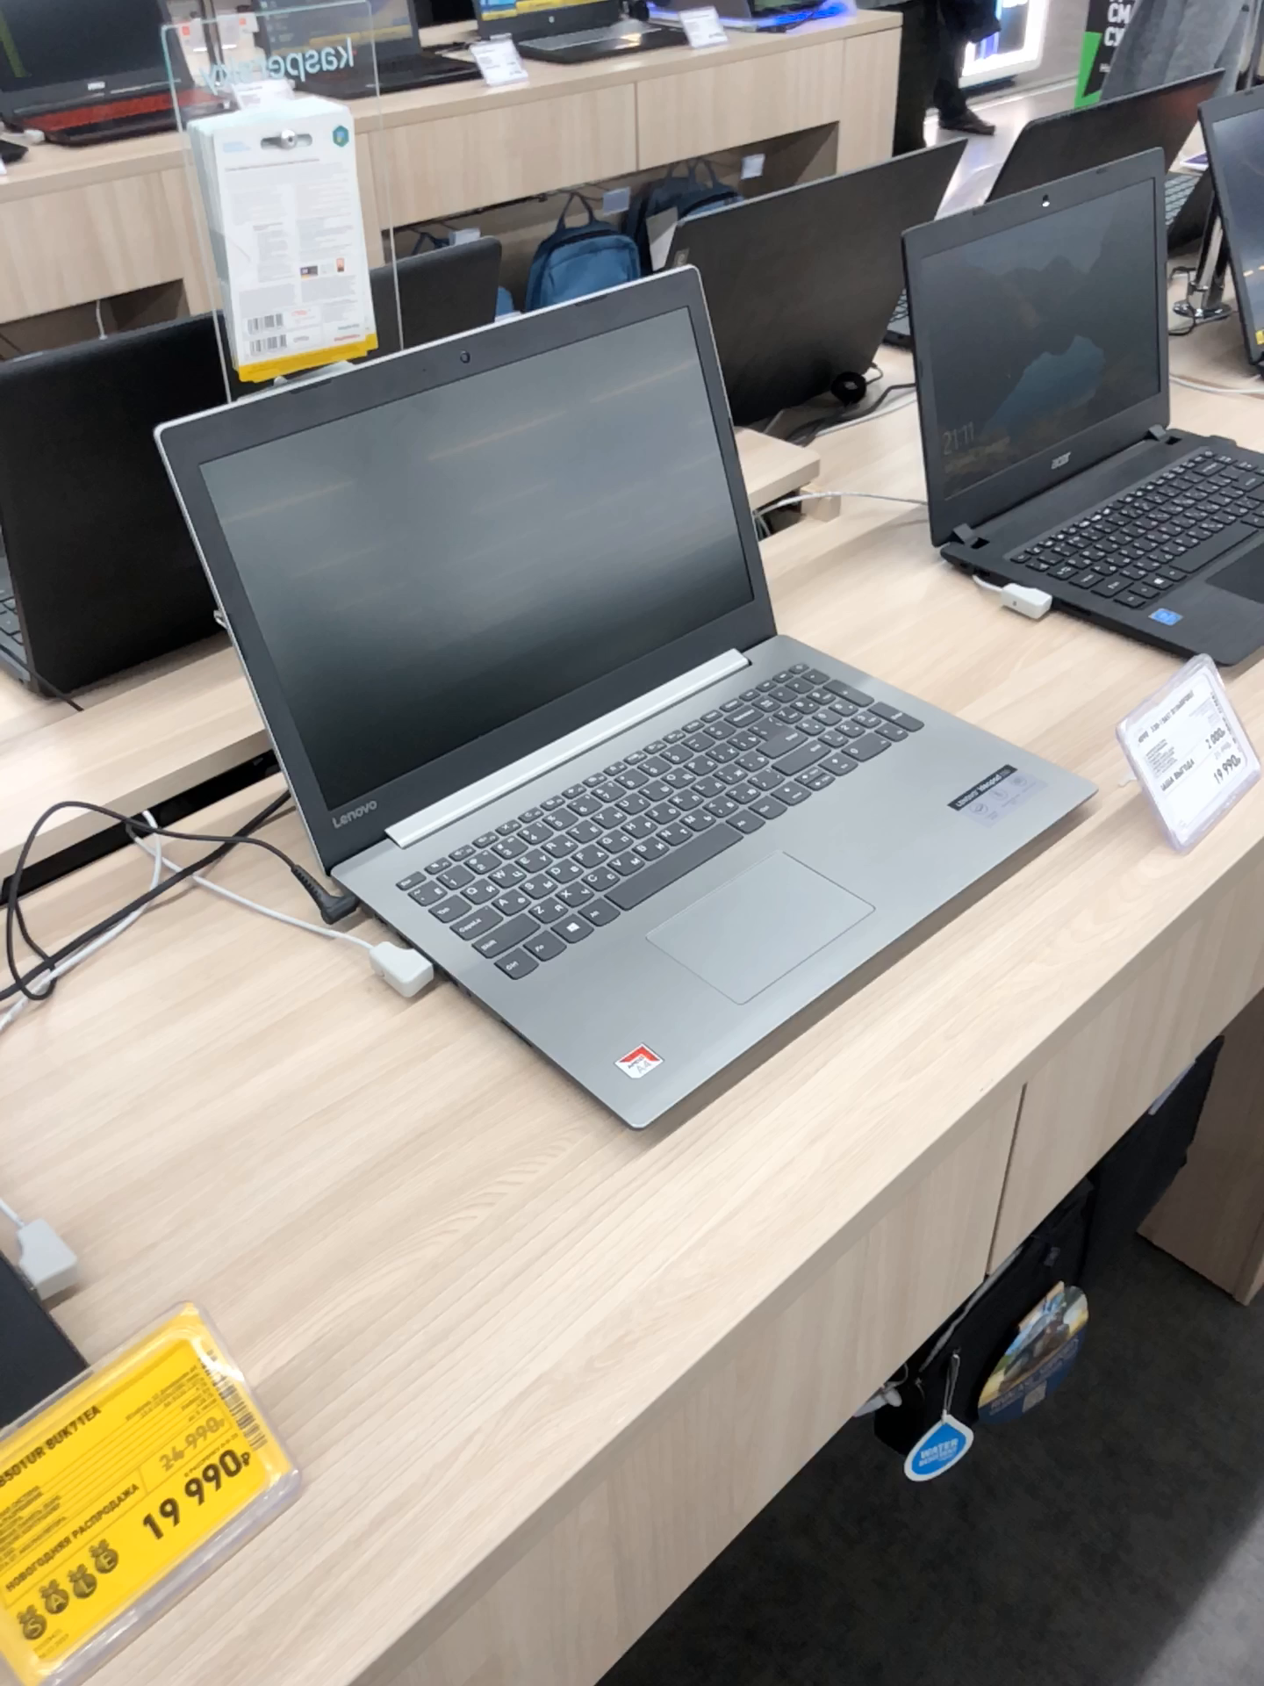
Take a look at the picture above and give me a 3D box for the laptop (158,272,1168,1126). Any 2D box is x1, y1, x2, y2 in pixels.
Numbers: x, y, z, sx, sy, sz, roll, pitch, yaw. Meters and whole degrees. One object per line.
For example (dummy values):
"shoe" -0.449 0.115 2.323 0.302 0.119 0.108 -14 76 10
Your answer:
"laptop" 0.020 -0.121 0.772 0.381 0.235 0.344 -31 46 -33
